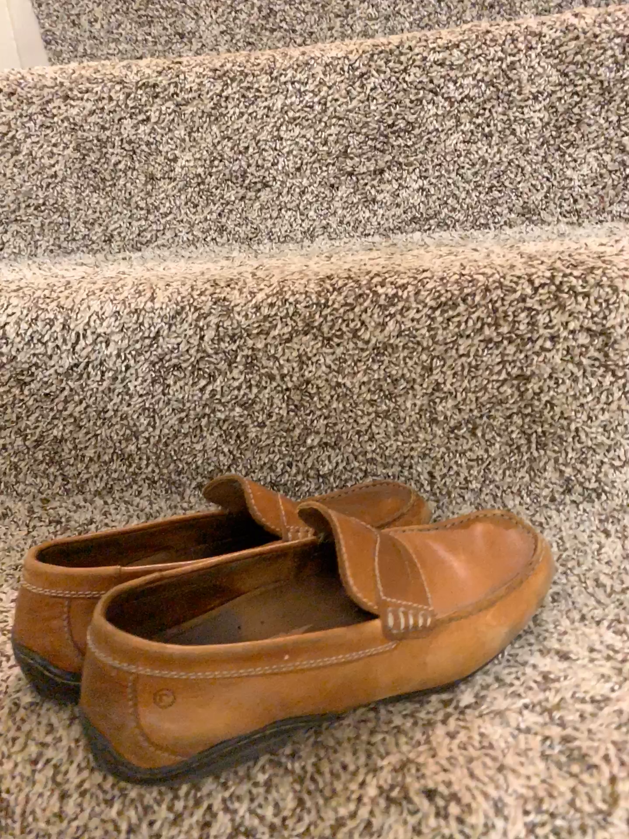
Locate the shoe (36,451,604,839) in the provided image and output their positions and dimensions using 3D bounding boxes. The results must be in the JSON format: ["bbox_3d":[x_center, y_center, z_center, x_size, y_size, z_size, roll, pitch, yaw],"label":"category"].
[{"bbox_3d":[0.006,0.098,0.355,0.280,0.070,0.120,-12,20,-22],"label":"shoe"}]

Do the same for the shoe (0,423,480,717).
[{"bbox_3d":[-0.040,0.075,0.400,0.280,0.070,0.090,-12,20,-22],"label":"shoe"}]
